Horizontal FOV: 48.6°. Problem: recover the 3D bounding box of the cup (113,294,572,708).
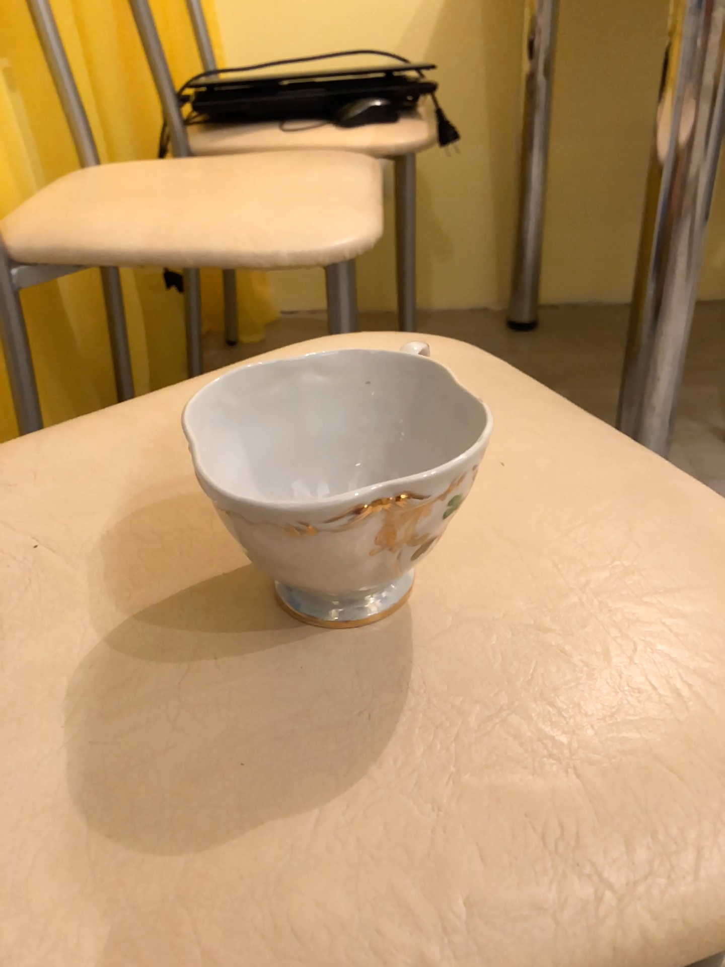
[{"bbox_3d":[0.003,-0.008,0.287,0.100,0.064,0.140,14,36,24],"label":"cup"}]
